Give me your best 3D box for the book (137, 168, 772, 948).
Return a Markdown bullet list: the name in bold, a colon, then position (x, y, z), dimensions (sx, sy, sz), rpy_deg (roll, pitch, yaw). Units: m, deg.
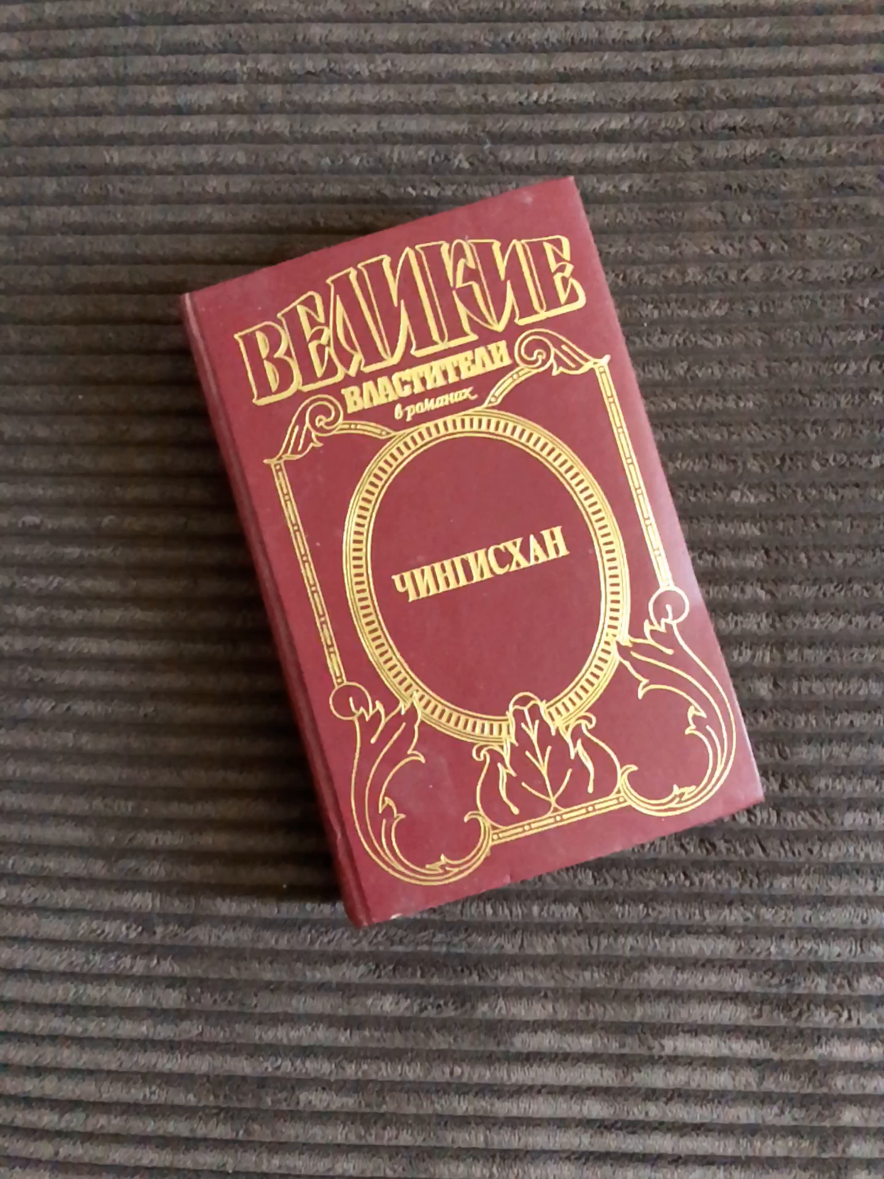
- **book**: position (0.003, -0.010, 0.317), dimensions (0.137, 0.050, 0.202), rpy_deg (-17, 87, 1)
